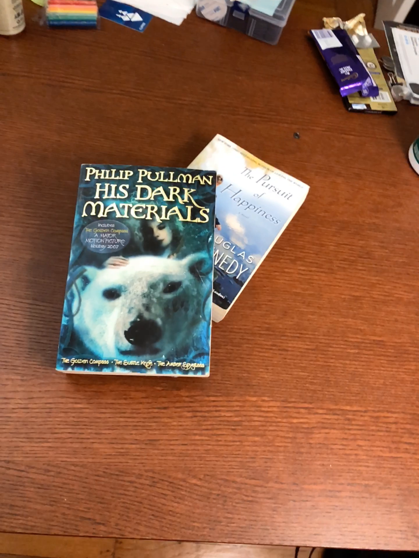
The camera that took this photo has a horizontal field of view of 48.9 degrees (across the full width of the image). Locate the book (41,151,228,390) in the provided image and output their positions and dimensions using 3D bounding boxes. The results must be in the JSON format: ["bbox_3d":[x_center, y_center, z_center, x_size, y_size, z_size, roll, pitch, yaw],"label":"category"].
[{"bbox_3d":[-0.069,-0.008,0.488,0.170,0.060,0.241,2,74,-5],"label":"book"}]

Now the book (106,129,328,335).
[{"bbox_3d":[0.016,-0.073,0.591,0.170,0.040,0.241,33,63,14],"label":"book"}]
